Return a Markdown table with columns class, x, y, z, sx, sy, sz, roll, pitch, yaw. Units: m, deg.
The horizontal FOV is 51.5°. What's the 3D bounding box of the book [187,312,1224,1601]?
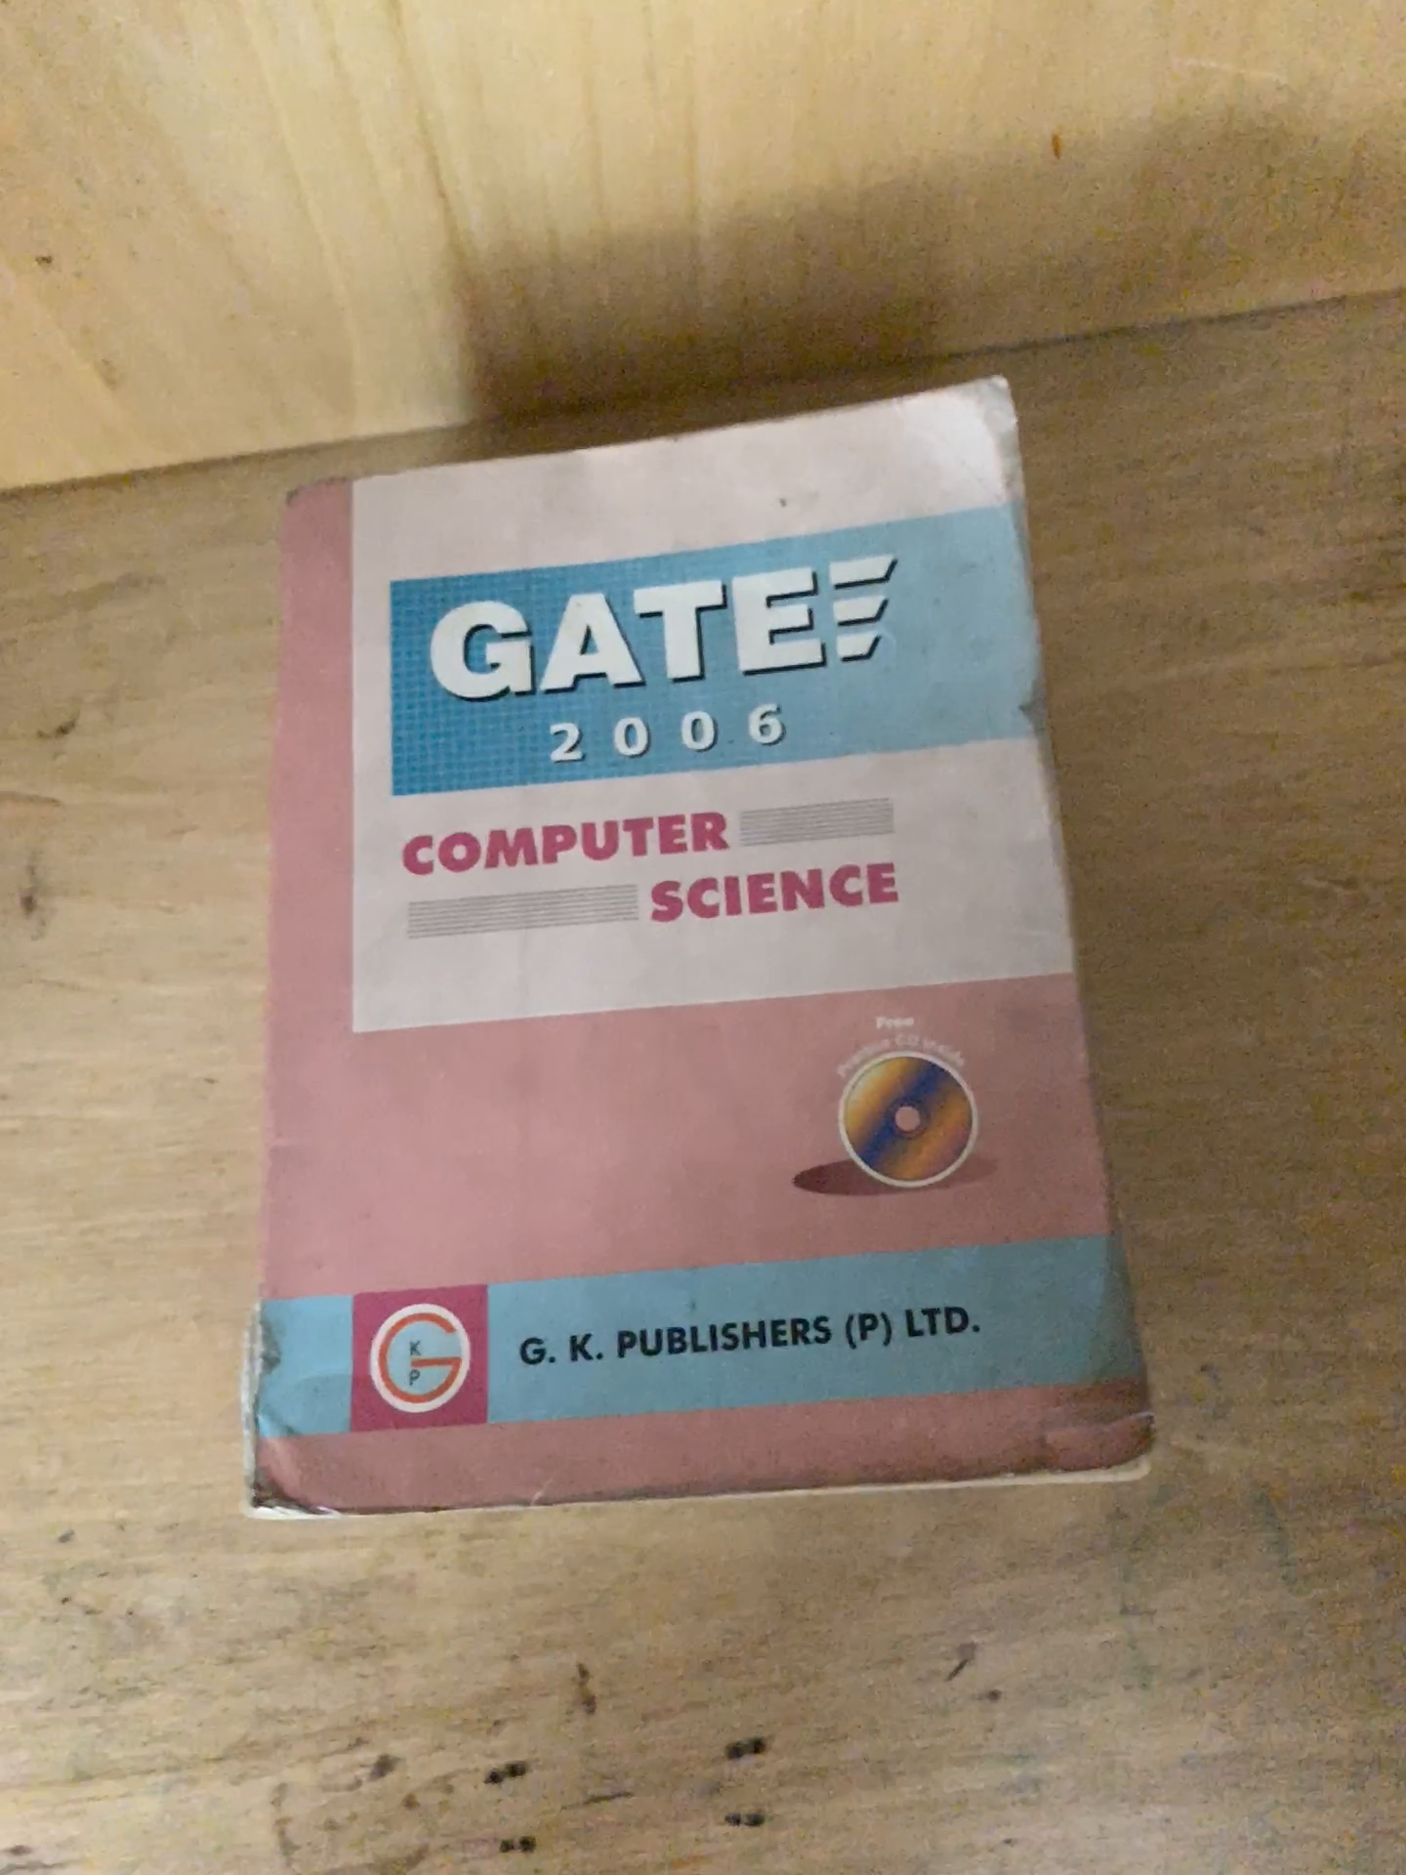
| class | x | y | z | sx | sy | sz | roll | pitch | yaw |
| --- | --- | --- | --- | --- | --- | --- | --- | --- | --- |
| book | -0.005 | 0.000 | 0.345 | 0.190 | 0.080 | 0.271 | -4 | 72 | 3 |
